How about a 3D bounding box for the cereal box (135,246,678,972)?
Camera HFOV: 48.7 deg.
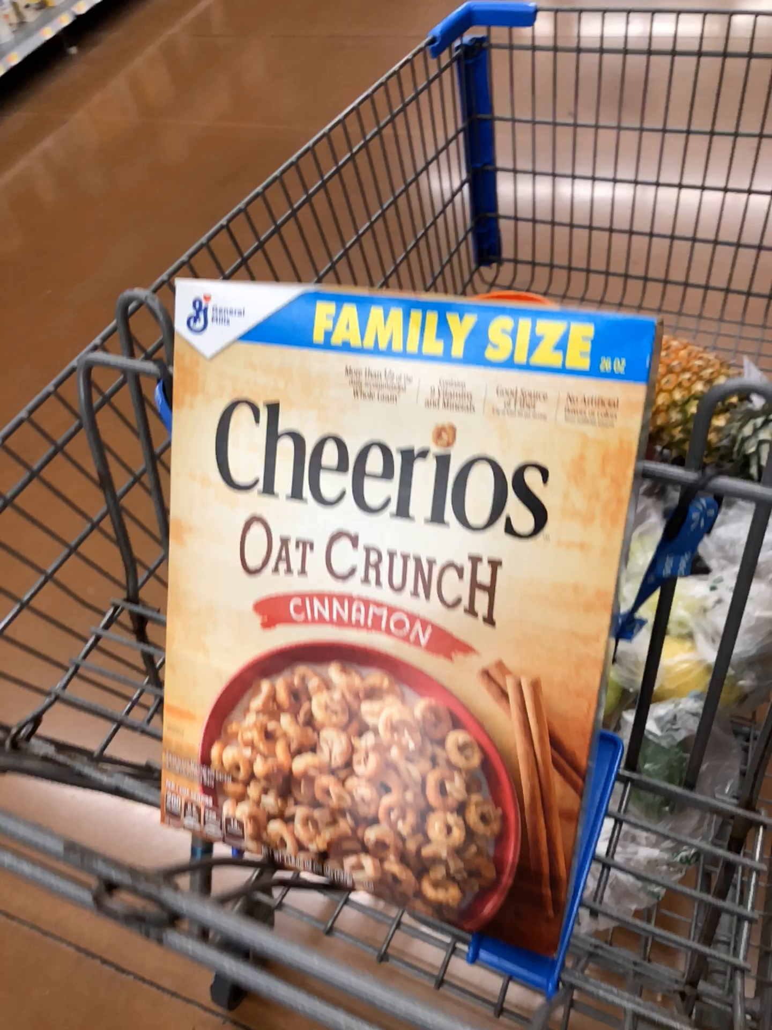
[{"bbox_3d":[-0.003,0.039,0.460,0.250,0.330,0.080,10,15,19],"label":"cereal box"}]
